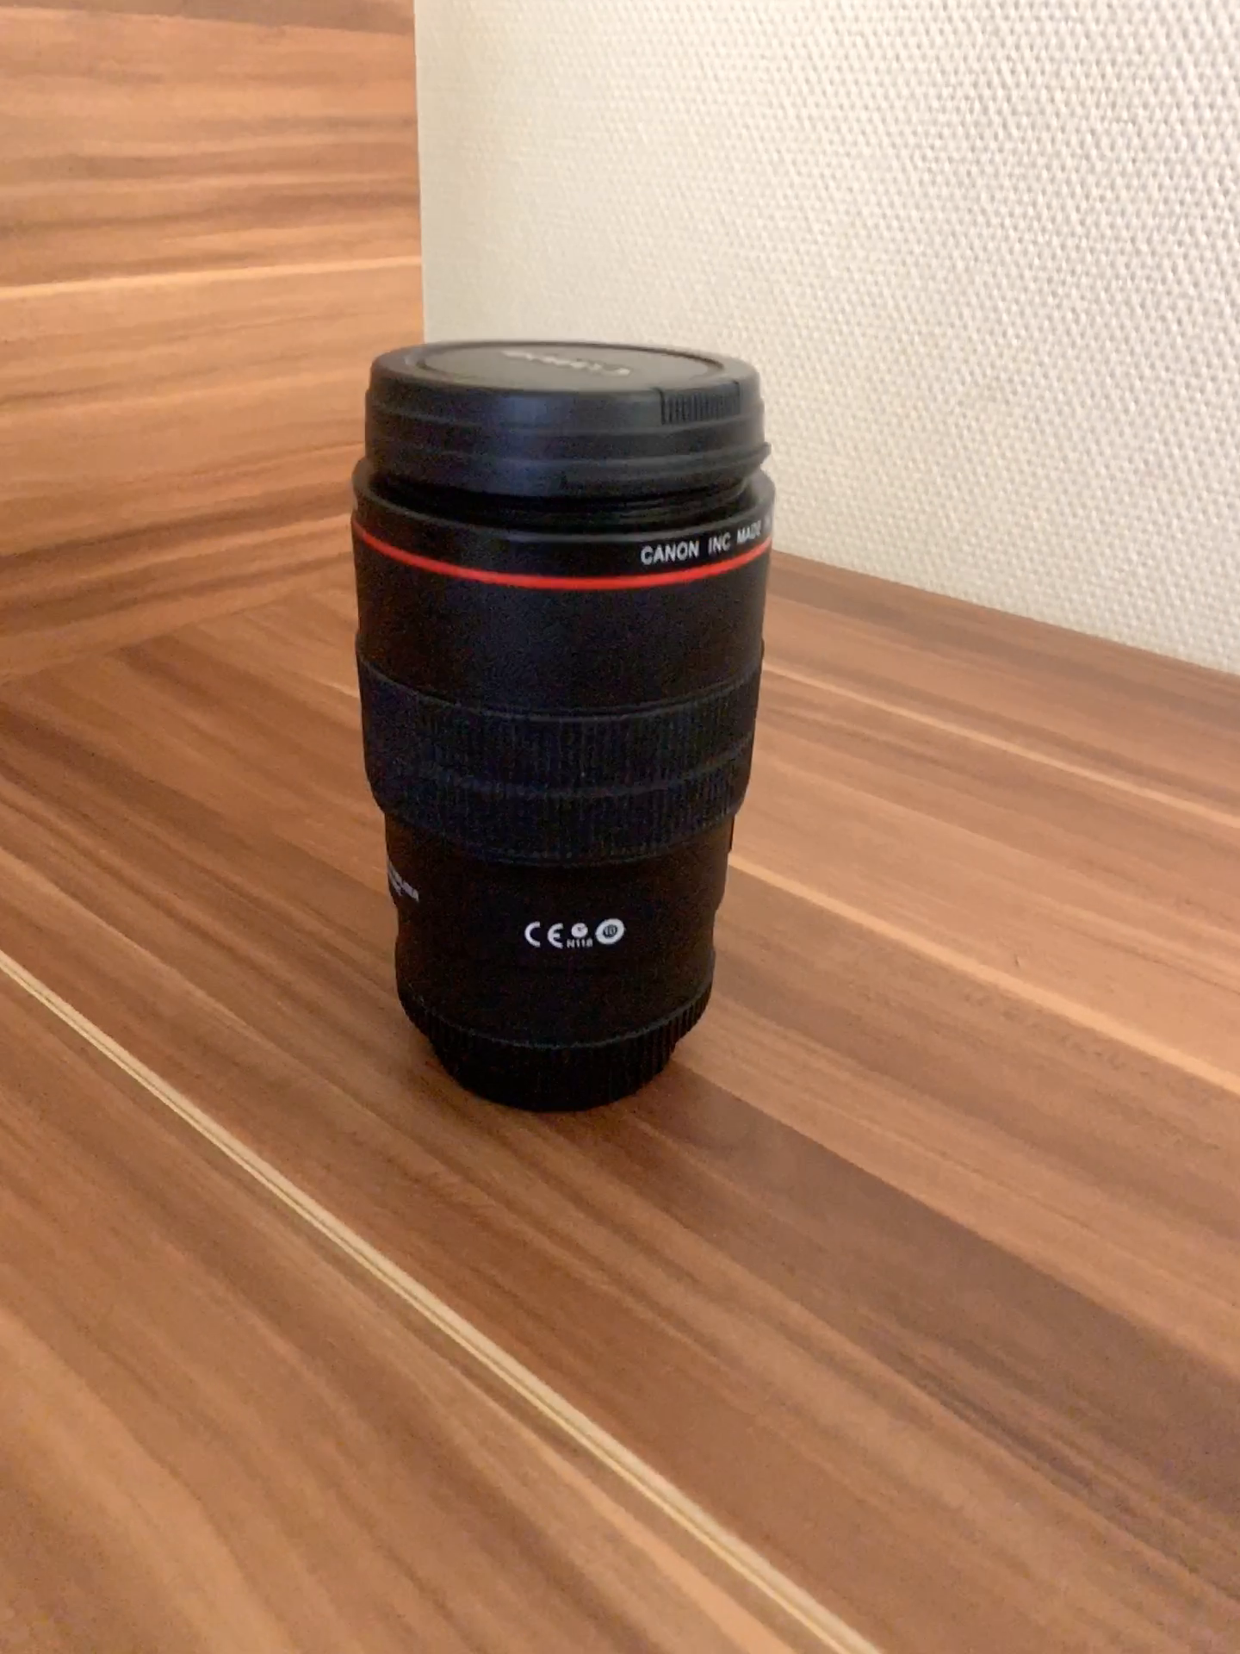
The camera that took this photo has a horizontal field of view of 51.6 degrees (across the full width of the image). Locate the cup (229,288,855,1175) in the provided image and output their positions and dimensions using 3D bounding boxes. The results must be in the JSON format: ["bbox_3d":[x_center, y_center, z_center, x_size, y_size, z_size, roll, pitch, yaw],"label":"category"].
[{"bbox_3d":[-0.012,-0.021,0.245,0.080,0.139,0.070,14,31,20],"label":"cup"}]
